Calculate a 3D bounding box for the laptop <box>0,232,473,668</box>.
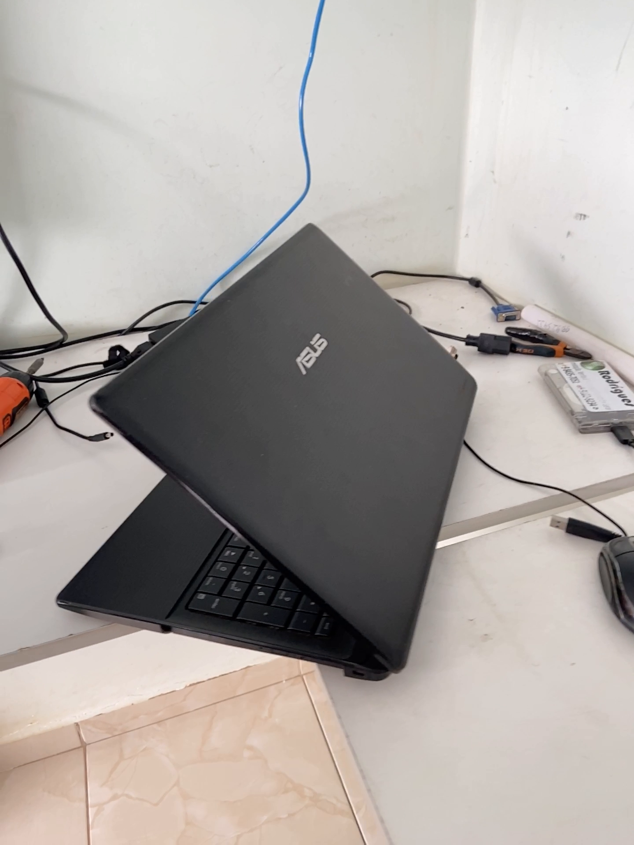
[{"bbox_3d":[-0.023,-0.026,0.556,0.246,0.166,0.378,6,32,19],"label":"laptop"}]
